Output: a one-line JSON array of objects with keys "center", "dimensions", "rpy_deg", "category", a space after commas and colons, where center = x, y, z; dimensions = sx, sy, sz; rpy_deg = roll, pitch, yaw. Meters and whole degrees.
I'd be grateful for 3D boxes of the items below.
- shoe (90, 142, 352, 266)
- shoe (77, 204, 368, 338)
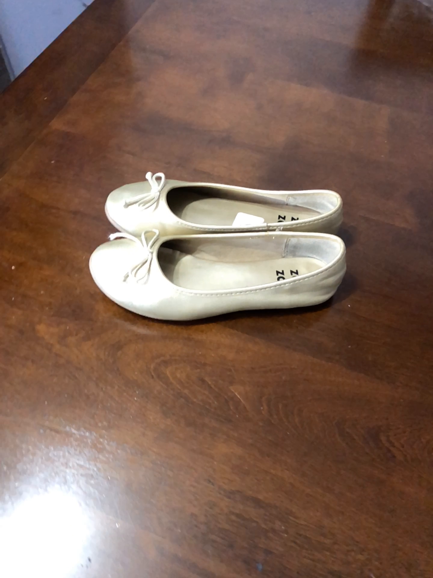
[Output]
[{"center": [0.005, -0.083, 0.470], "dimensions": [0.230, 0.070, 0.080], "rpy_deg": [4, 56, 0], "category": "shoe"}, {"center": [0.005, -0.016, 0.433], "dimensions": [0.230, 0.070, 0.090], "rpy_deg": [2, 56, -1], "category": "shoe"}]
